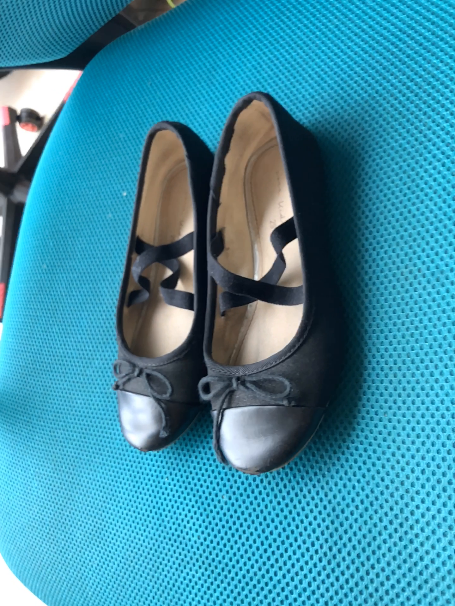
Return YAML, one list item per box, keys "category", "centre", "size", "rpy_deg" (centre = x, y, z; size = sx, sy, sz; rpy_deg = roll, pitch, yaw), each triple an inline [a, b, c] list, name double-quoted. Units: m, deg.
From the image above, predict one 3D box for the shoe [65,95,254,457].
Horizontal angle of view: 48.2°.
- category: "shoe"
  centre: [-0.039, -0.014, 0.307]
  size: [0.081, 0.050, 0.194]
  rpy_deg: [-4, 76, 38]

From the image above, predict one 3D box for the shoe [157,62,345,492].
- category: "shoe"
  centre: [0.015, -0.012, 0.257]
  size: [0.069, 0.050, 0.190]
  rpy_deg: [-6, 75, 38]
